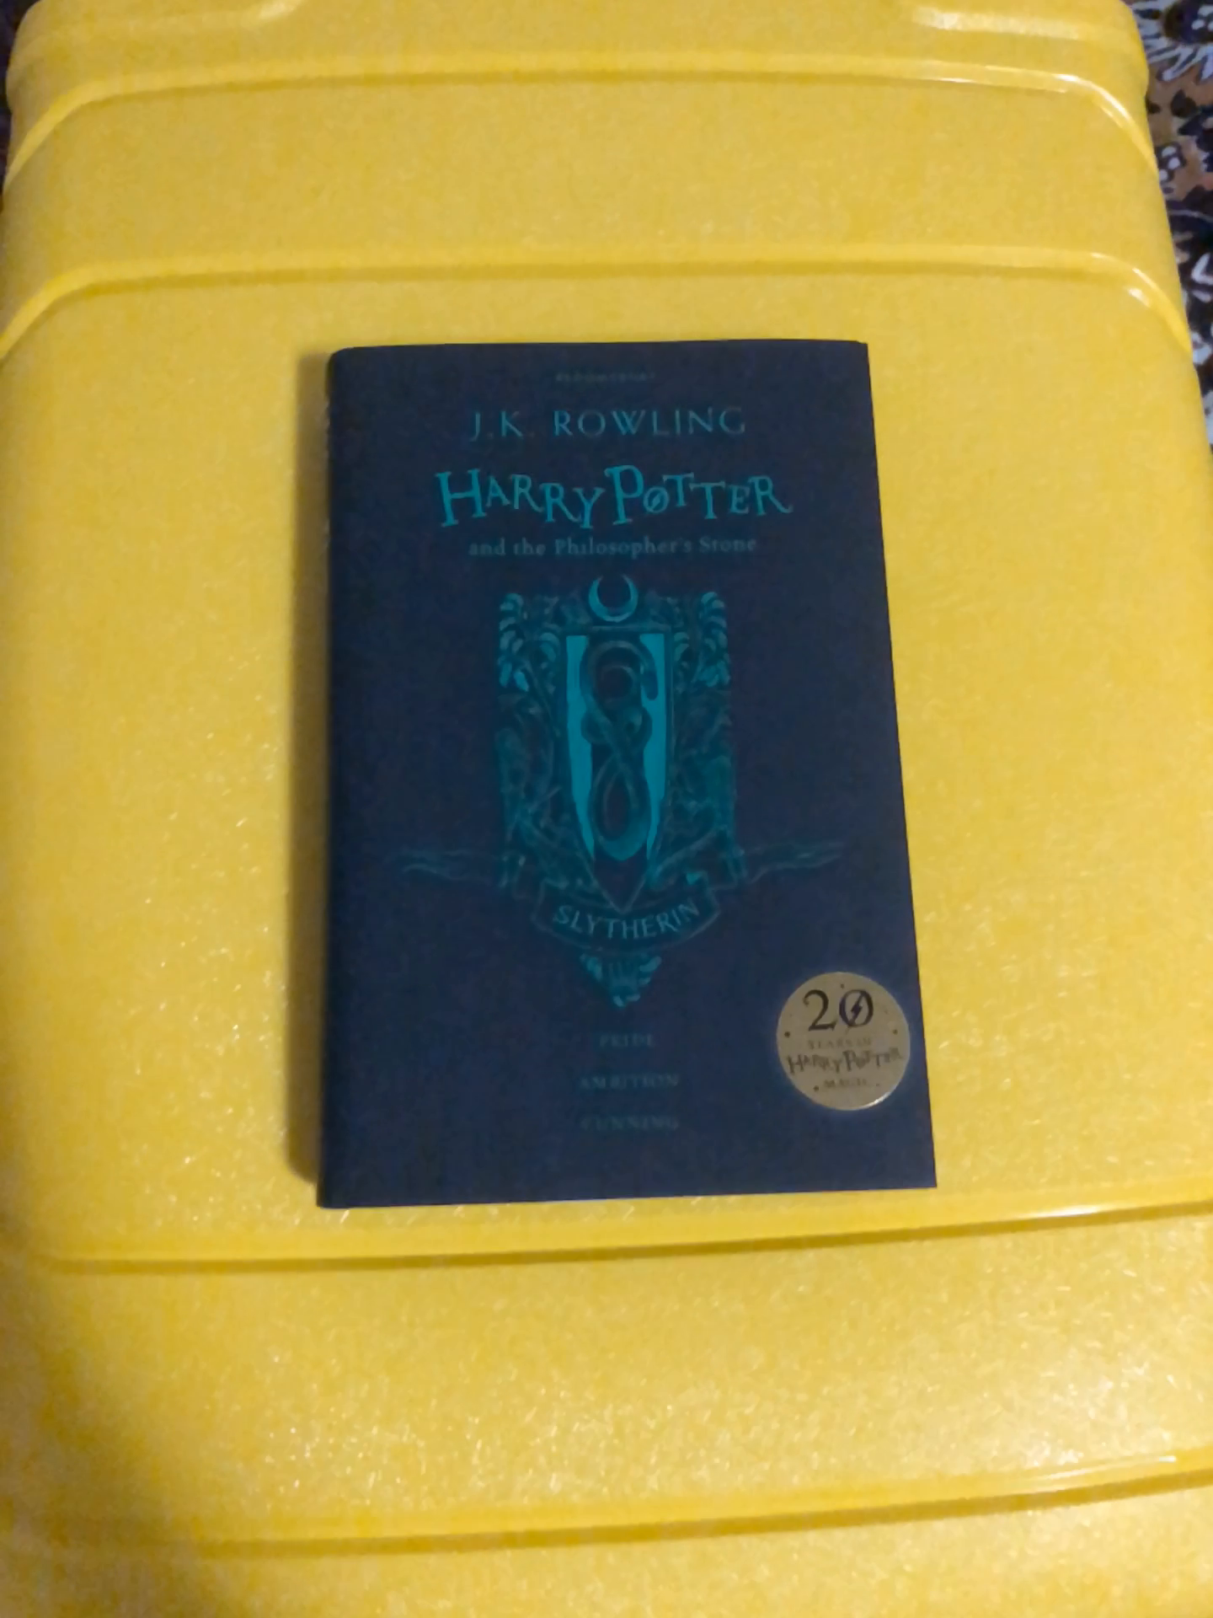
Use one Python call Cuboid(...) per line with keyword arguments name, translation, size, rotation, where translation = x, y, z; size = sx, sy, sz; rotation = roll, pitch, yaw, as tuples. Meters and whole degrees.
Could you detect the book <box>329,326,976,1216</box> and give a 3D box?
Cuboid(name="book", translation=(0.006, -0.014, 0.318), size=(0.136, 0.030, 0.205), rotation=(-2, 77, -2))
